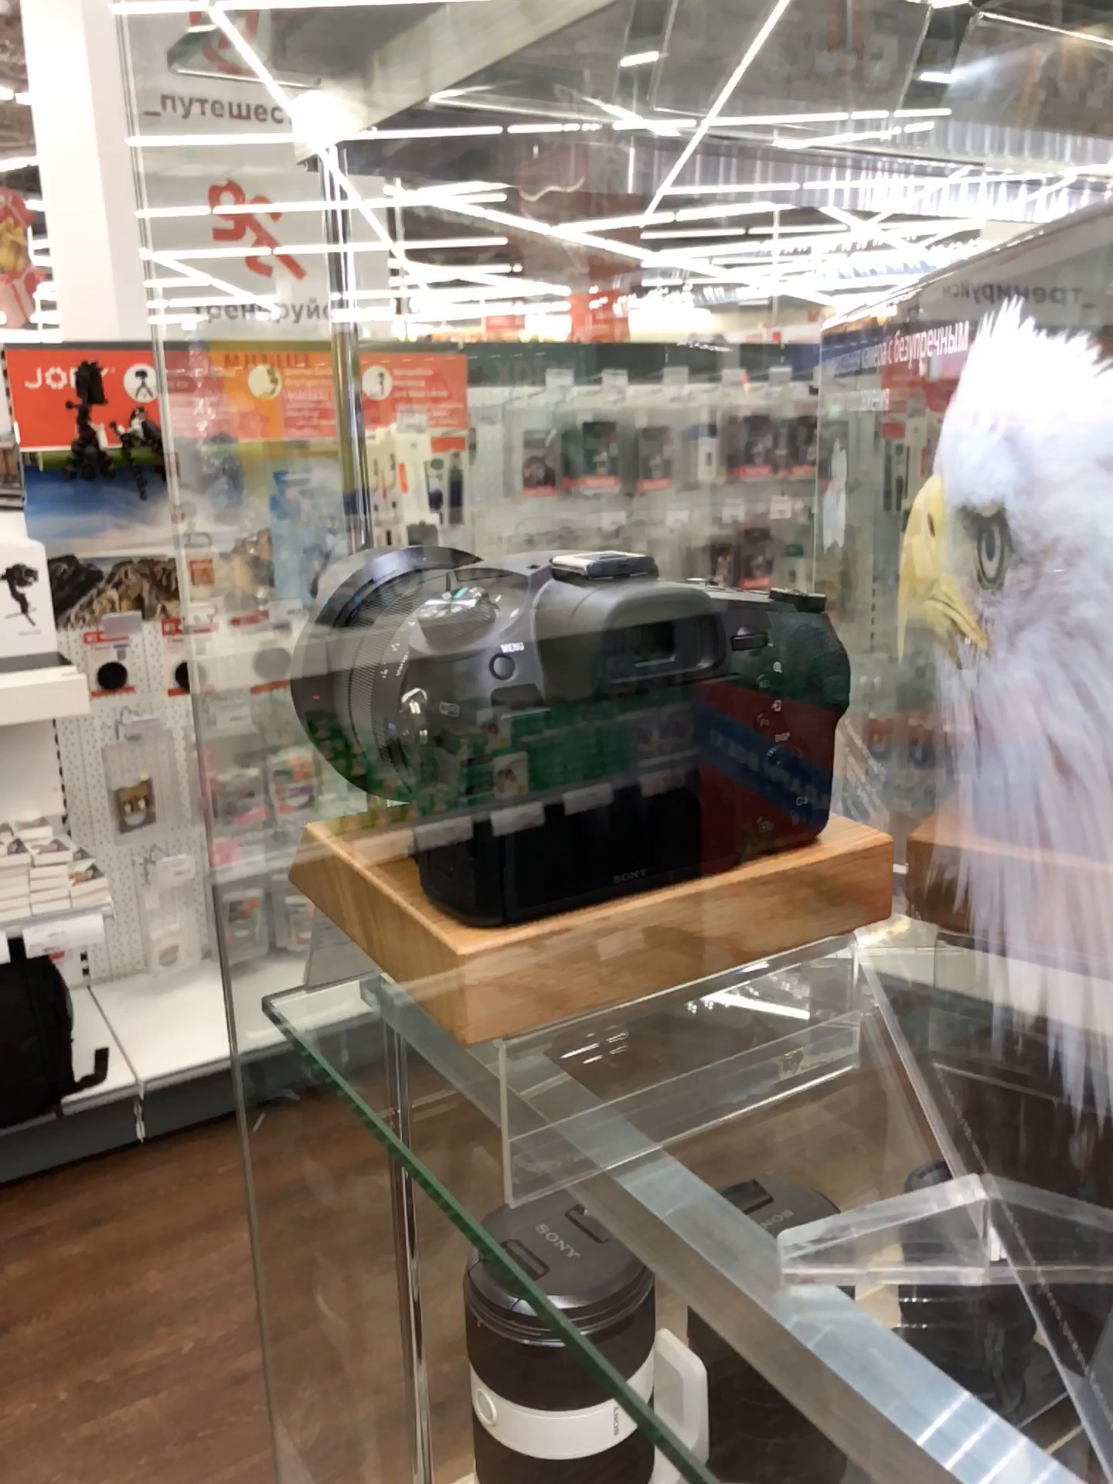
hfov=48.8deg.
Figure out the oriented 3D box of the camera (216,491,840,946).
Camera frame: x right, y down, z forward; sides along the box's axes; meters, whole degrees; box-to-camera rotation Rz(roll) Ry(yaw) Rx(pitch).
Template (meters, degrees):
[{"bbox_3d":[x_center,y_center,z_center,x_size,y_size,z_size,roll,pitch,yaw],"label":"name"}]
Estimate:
[{"bbox_3d":[-0.019,-0.025,0.397,0.126,0.099,0.178,-10,16,-29],"label":"camera"}]
